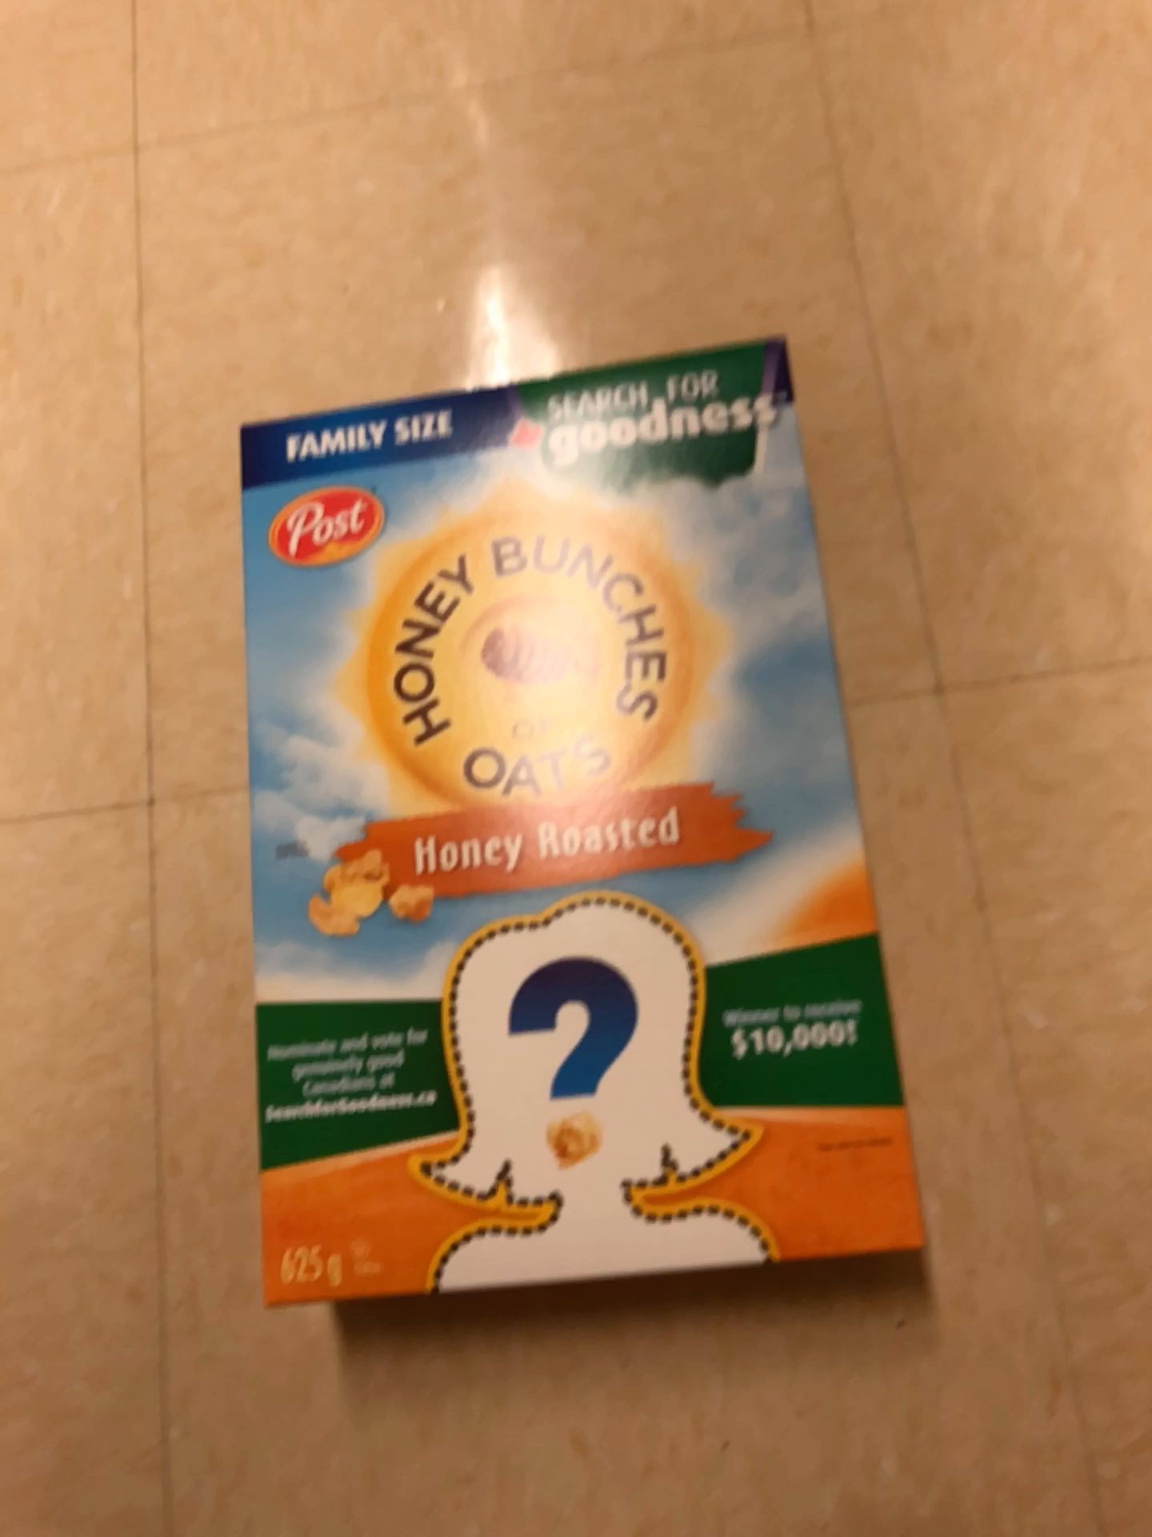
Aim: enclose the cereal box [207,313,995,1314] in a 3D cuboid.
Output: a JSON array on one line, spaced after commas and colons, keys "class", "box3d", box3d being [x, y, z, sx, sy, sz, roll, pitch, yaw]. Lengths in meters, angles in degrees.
[{"class": "cereal box", "box3d": [-0.005, 0.009, 0.417, 0.210, 0.070, 0.290, -7, 71, 5]}]
